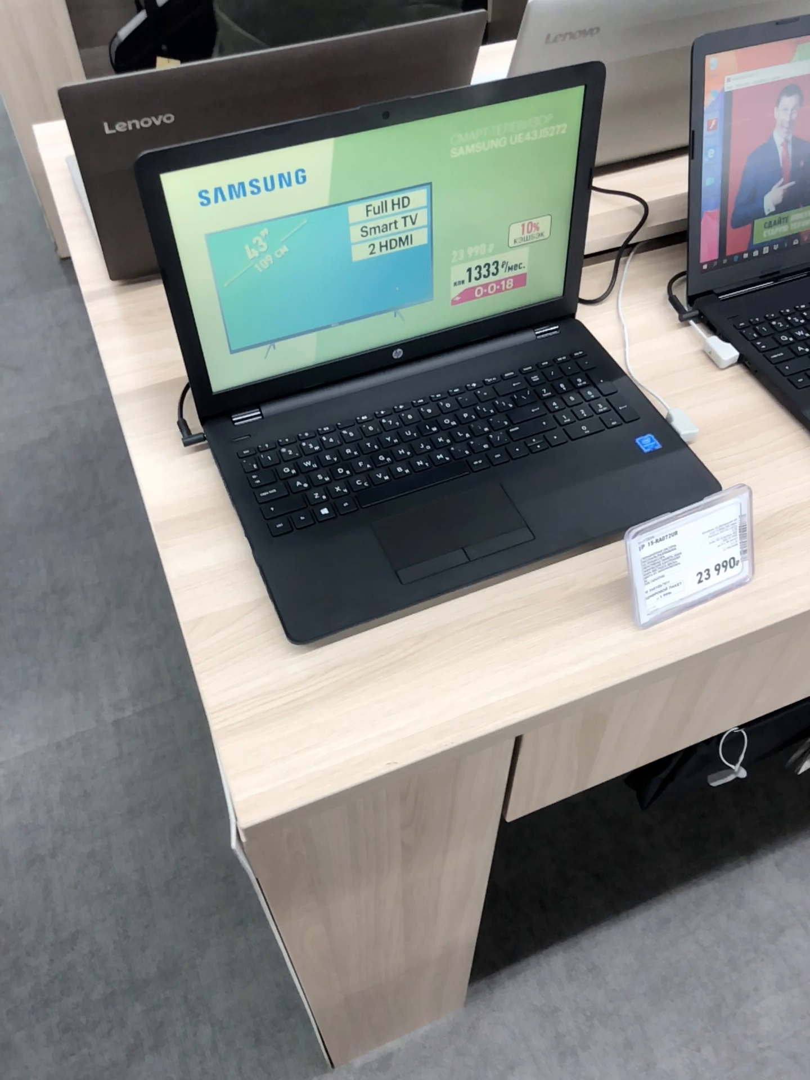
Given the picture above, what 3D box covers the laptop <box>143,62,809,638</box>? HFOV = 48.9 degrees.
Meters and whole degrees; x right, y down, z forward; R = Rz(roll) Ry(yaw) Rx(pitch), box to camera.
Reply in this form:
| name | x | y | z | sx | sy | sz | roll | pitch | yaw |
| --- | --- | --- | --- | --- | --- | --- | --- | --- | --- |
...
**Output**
| name | x | y | z | sx | sy | sz | roll | pitch | yaw |
| --- | --- | --- | --- | --- | --- | --- | --- | --- | --- |
| laptop | 0.037 | -0.156 | 0.674 | 0.362 | 0.222 | 0.274 | -18 | 54 | -15 |
